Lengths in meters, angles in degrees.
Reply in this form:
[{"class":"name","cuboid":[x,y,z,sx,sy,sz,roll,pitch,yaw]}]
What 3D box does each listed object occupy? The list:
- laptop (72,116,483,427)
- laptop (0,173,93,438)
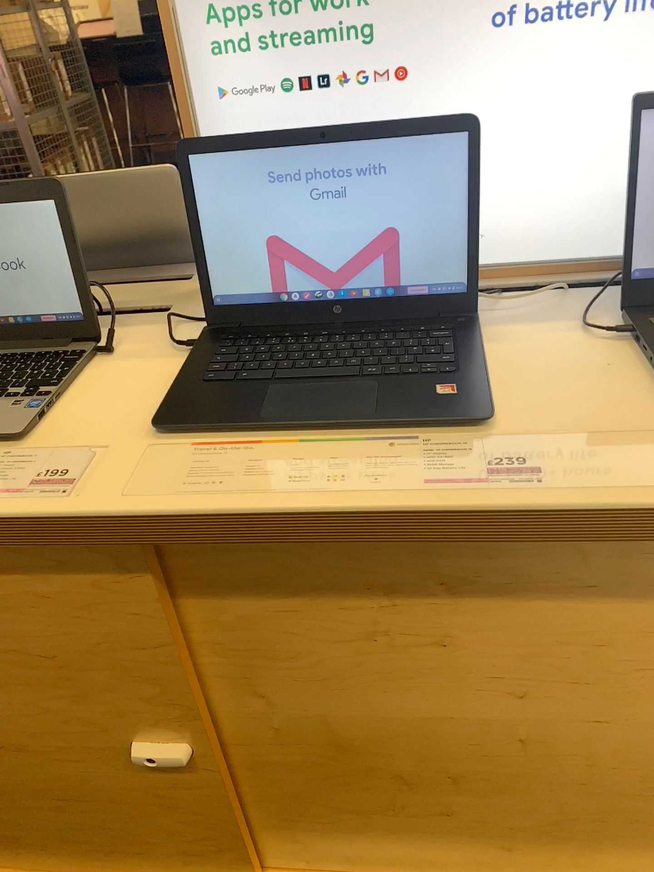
[{"class":"laptop","cuboid":[-0.021,-0.171,0.682,0.331,0.208,0.246,-1,35,9]},{"class":"laptop","cuboid":[-0.454,-0.148,0.732,0.270,0.185,0.243,-2,35,7]}]
